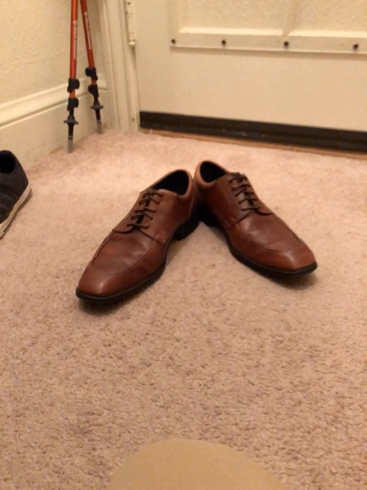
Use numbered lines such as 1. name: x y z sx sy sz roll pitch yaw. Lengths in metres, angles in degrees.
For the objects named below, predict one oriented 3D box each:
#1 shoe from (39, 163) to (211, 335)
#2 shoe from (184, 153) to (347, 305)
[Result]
1. shoe: -0.070 -0.015 0.661 0.120 0.119 0.302 14 36 22
2. shoe: 0.114 -0.046 0.682 0.100 0.109 0.301 -16 36 -22
